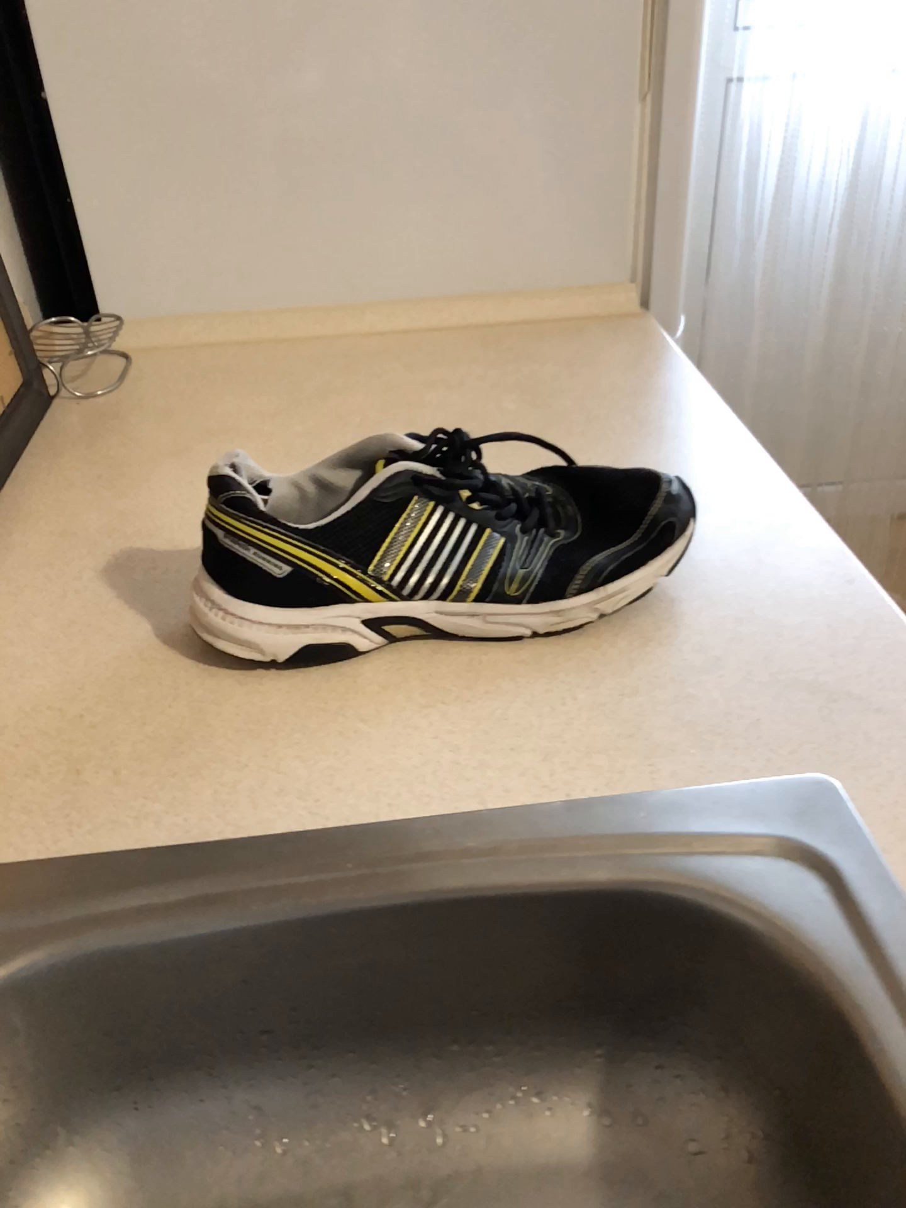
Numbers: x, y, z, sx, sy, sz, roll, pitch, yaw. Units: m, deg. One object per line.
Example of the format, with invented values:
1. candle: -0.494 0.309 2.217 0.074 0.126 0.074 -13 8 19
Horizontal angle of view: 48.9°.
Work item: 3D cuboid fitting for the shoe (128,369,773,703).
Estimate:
1. shoe: -0.002 -0.043 0.544 0.310 0.099 0.111 -8 35 -7
